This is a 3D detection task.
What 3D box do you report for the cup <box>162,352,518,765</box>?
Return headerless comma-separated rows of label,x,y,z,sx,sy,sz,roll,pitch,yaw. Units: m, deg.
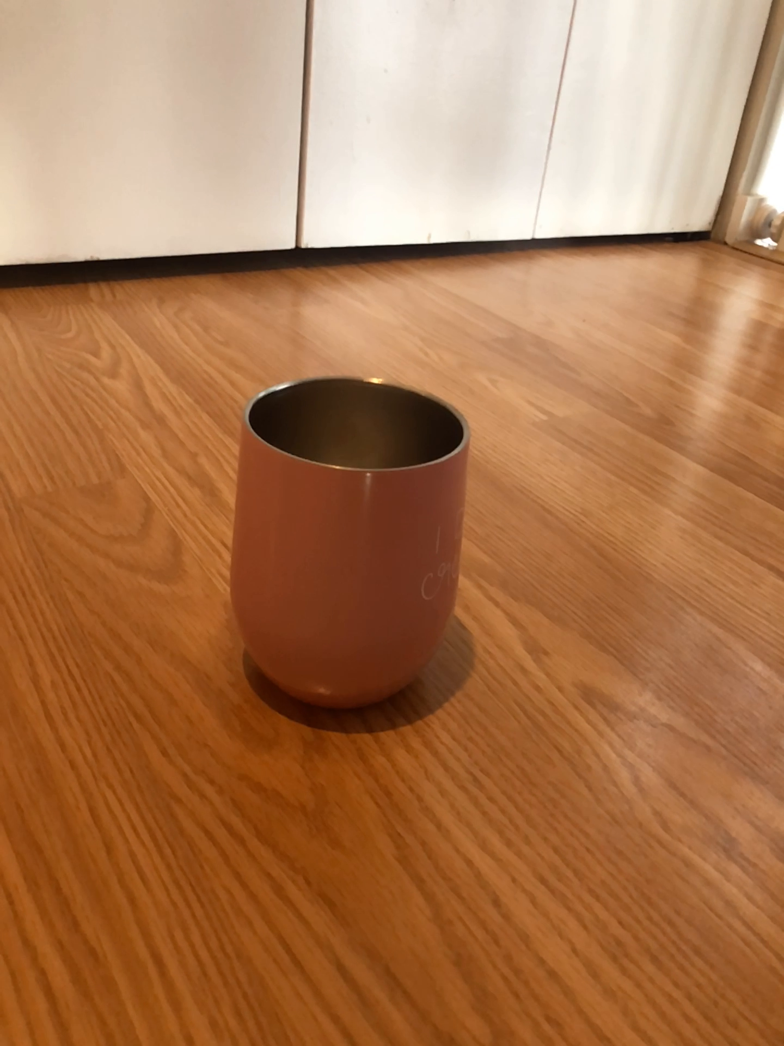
cup,-0.018,0.007,0.319,0.090,0.100,0.090,5,30,-3
